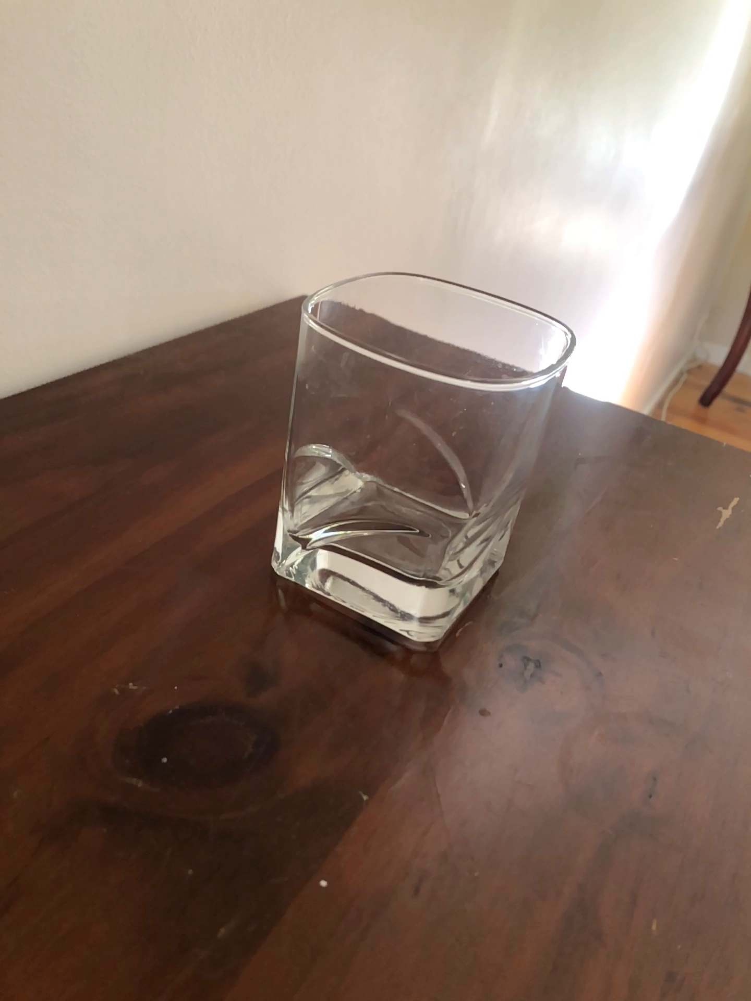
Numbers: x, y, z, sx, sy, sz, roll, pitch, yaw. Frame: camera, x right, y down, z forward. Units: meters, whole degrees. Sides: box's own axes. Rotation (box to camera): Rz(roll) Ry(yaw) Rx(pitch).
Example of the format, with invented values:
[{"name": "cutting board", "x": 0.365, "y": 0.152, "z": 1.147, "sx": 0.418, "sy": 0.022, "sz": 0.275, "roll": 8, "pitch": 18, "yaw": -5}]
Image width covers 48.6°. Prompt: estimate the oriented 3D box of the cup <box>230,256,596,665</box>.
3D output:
[{"name": "cup", "x": 0.011, "y": -0.018, "z": 0.262, "sx": 0.076, "sy": 0.087, "sz": 0.078, "roll": 7, "pitch": 30, "yaw": -4}]
